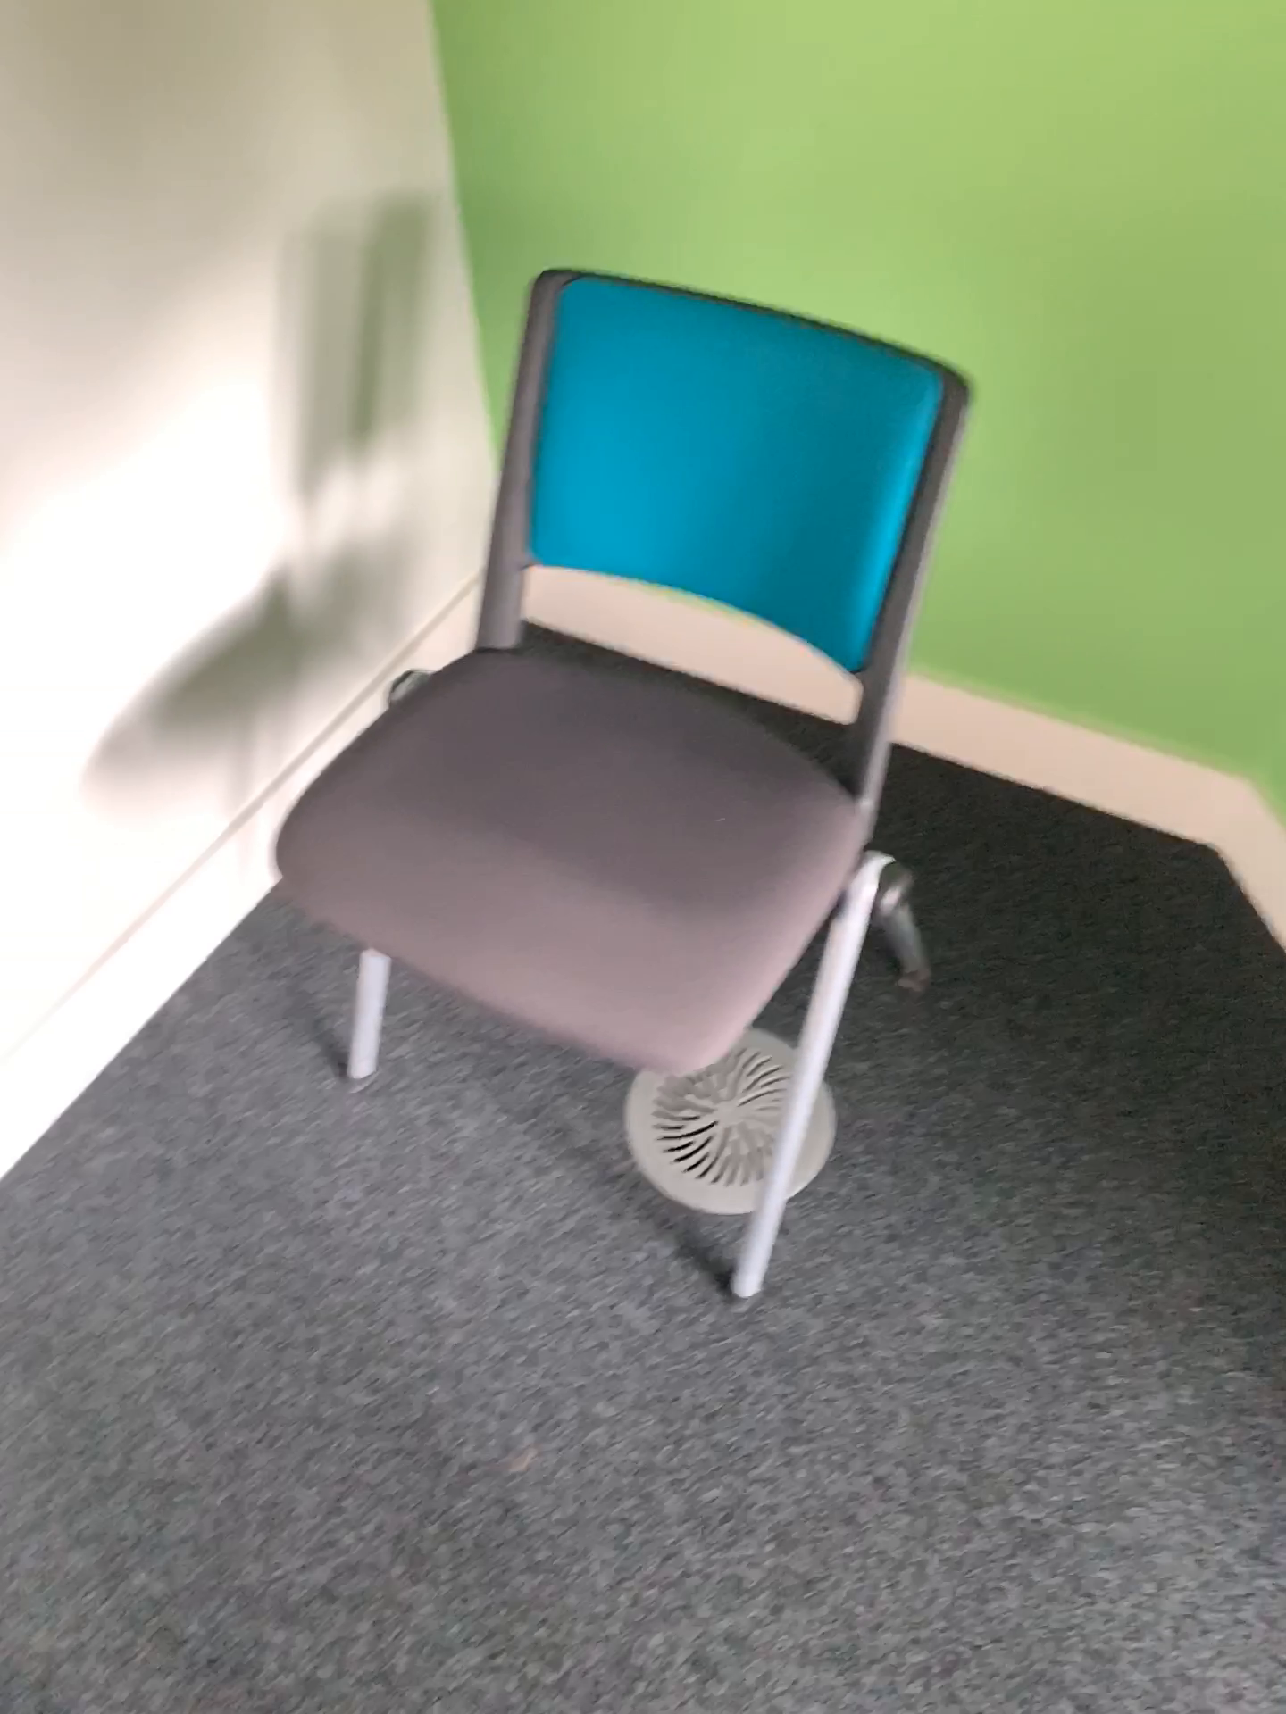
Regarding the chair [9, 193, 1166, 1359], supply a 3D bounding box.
[{"bbox_3d":[-0.002,-0.073,1.131,0.581,0.664,0.554,22,54,20],"label":"chair"}]
